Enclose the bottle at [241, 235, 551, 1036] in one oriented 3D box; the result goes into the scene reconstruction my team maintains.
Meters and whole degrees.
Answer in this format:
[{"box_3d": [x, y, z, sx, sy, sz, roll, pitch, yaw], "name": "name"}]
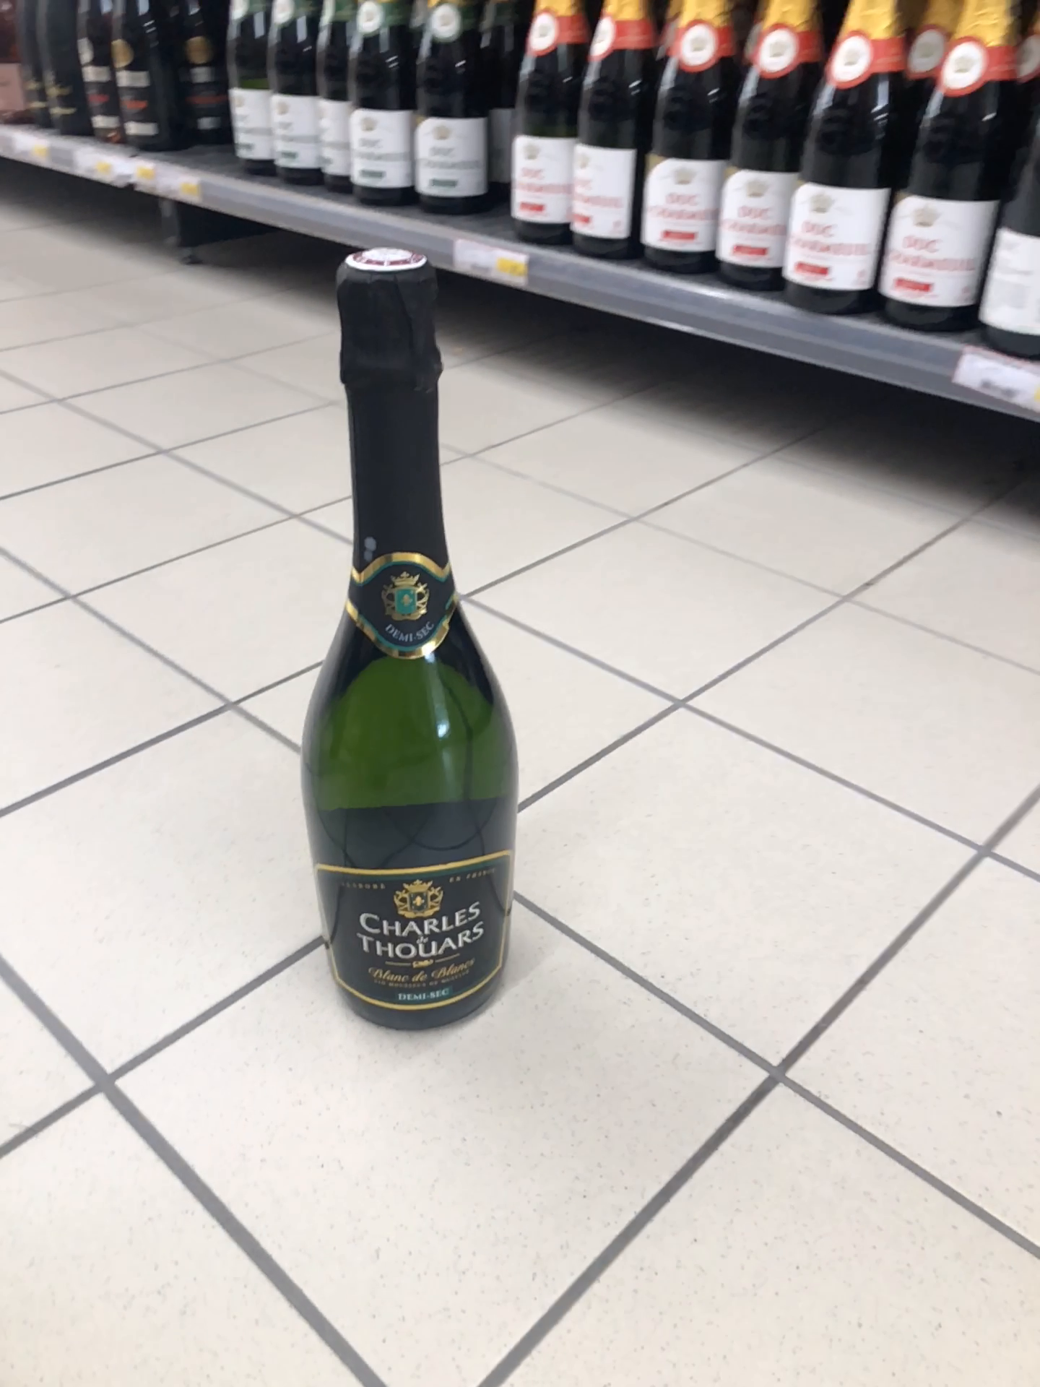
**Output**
[{"box_3d": [-0.040, -0.008, 0.451, 0.090, 0.308, 0.091, 1, 31, -1], "name": "bottle"}]
